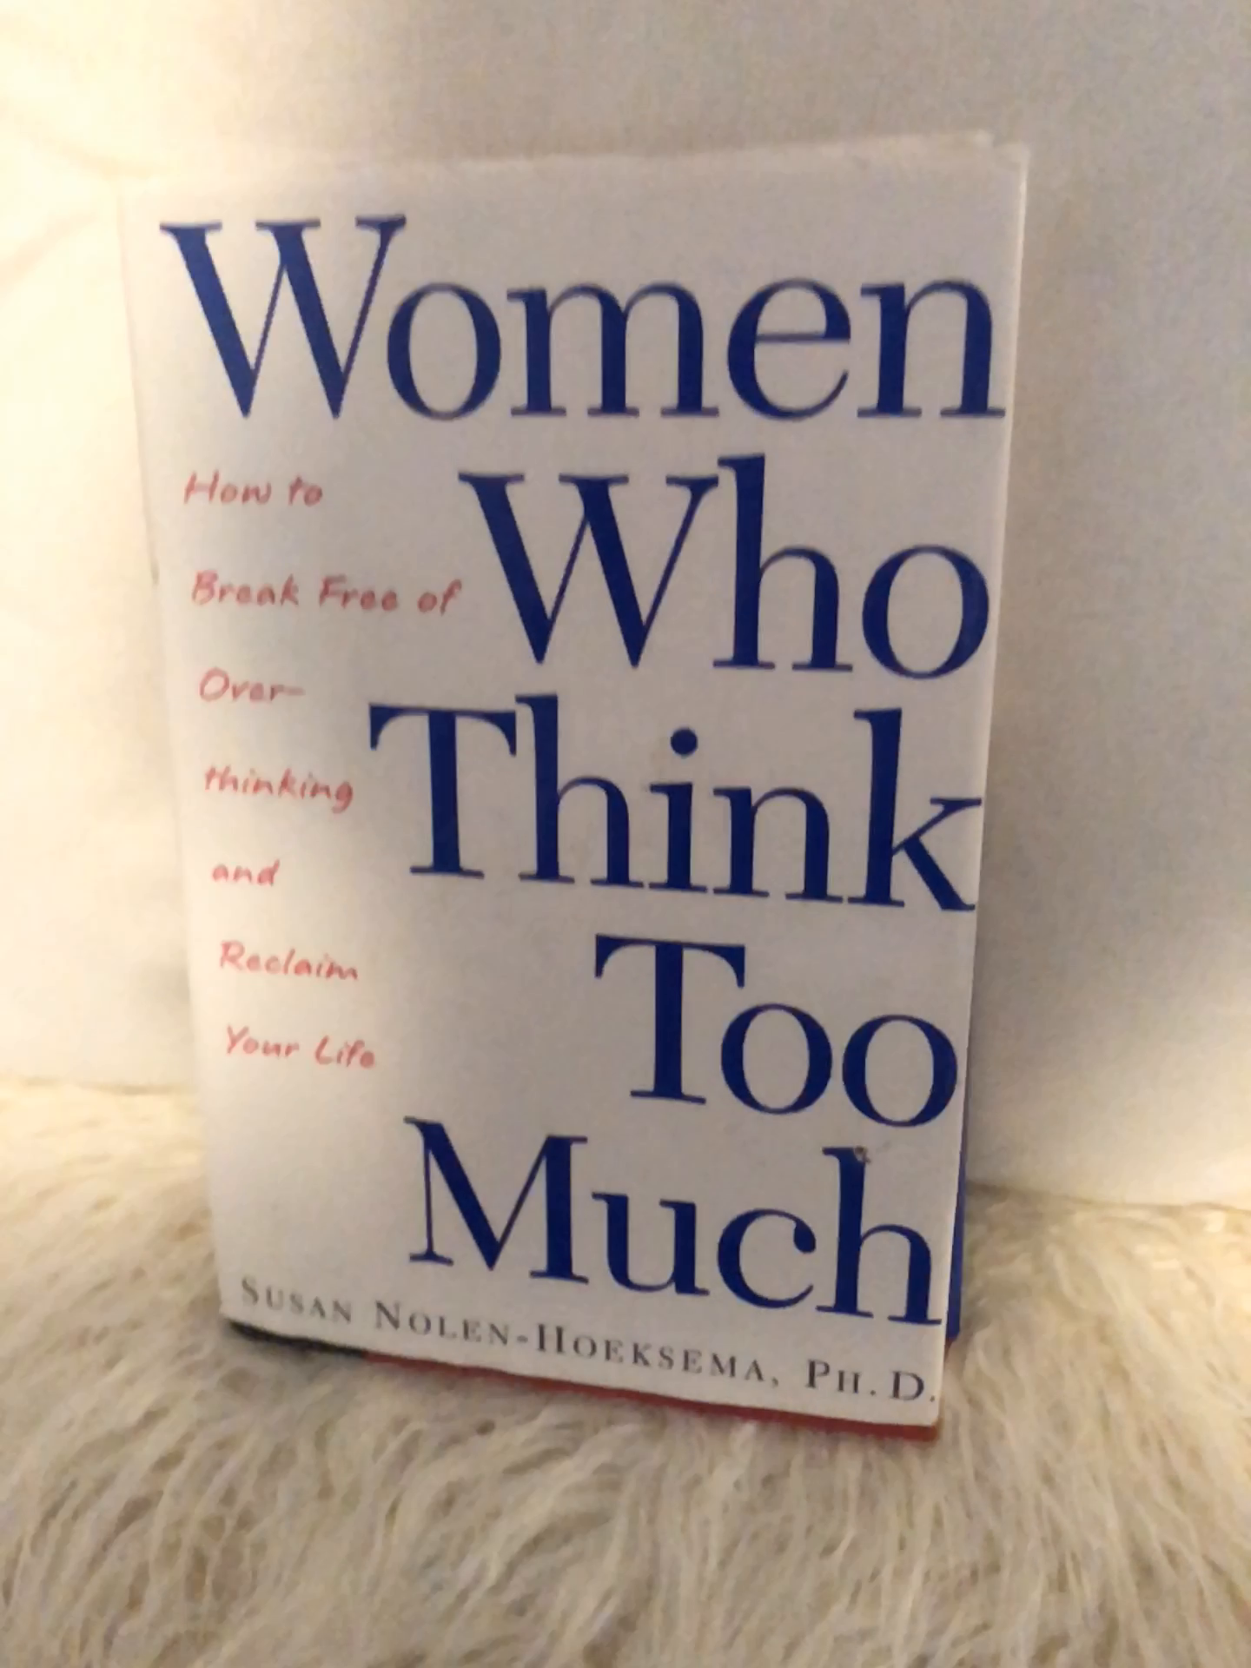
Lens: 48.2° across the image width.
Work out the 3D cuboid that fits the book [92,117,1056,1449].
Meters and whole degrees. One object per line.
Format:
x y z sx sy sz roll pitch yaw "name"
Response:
-0.012 -0.006 0.282 0.166 0.241 0.040 4 14 11 "book"
